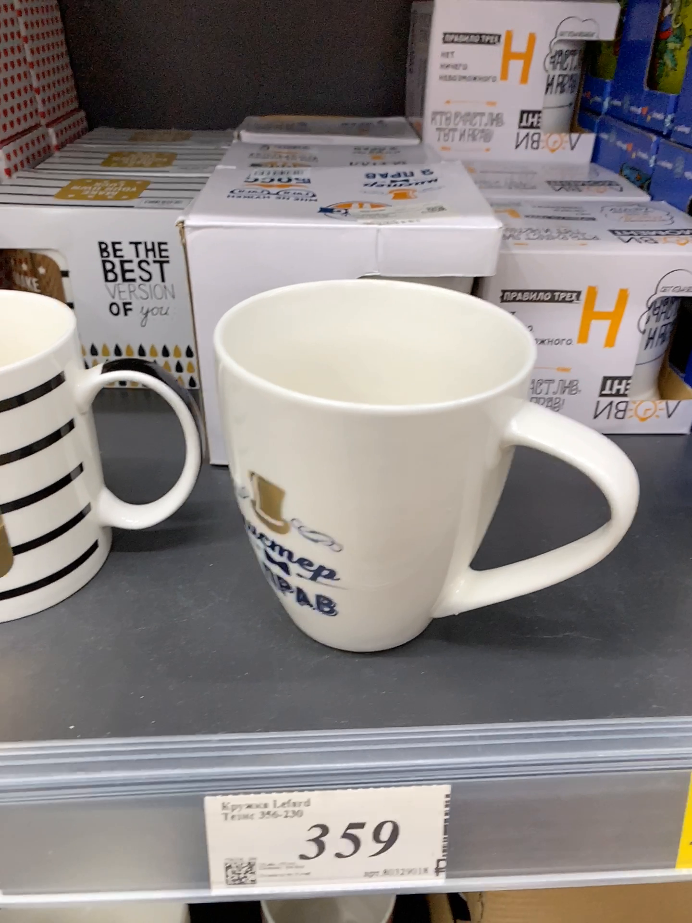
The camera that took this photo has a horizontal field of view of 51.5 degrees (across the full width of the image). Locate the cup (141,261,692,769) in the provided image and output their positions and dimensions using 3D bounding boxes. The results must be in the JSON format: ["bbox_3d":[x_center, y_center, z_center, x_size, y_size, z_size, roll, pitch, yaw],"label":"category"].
[{"bbox_3d":[0.022,0.004,0.232,0.132,0.093,0.094,18,36,24],"label":"cup"}]
